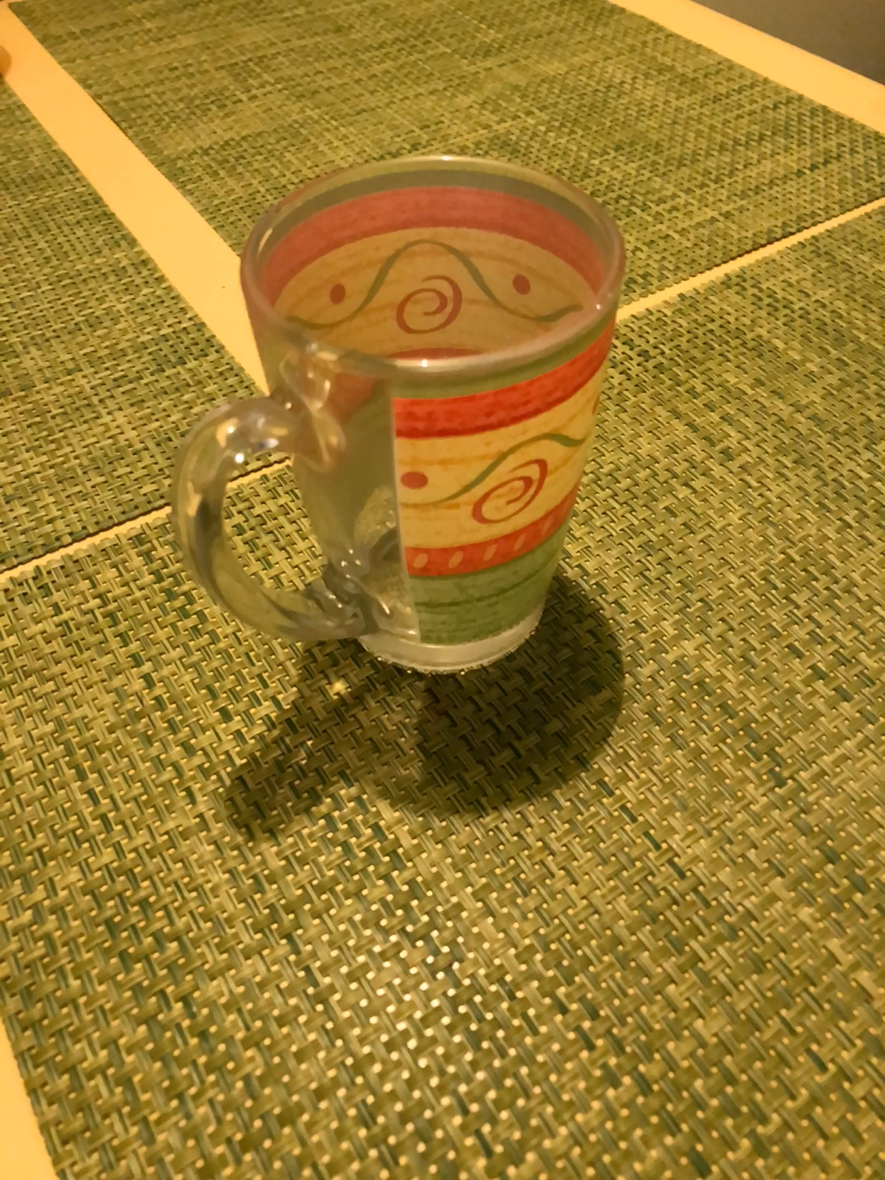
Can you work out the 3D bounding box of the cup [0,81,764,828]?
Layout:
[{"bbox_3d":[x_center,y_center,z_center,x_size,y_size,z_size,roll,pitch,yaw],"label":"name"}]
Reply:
[{"bbox_3d":[-0.010,-0.036,0.218,0.090,0.089,0.120,36,58,27],"label":"cup"}]
